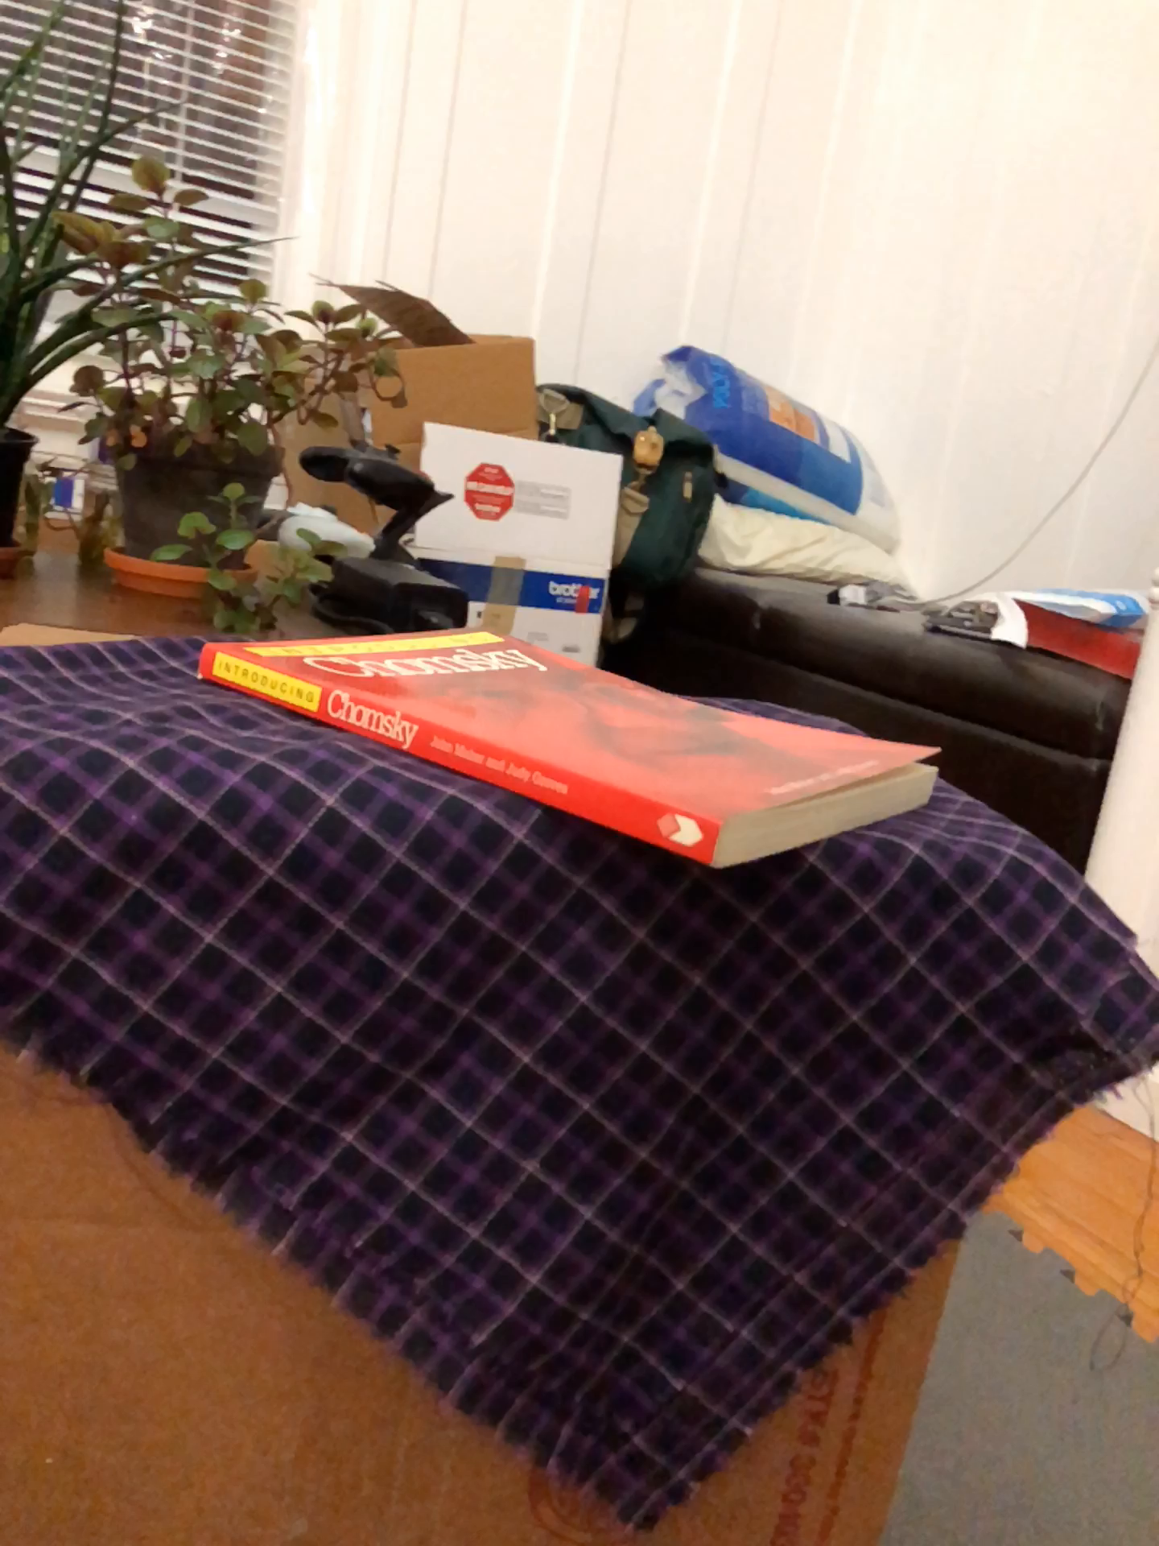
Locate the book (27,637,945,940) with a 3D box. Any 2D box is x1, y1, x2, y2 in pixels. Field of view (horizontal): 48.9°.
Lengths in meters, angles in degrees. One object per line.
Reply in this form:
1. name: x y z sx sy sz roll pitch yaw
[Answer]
1. book: -0.029 -0.011 0.417 0.240 0.020 0.180 17 15 33
